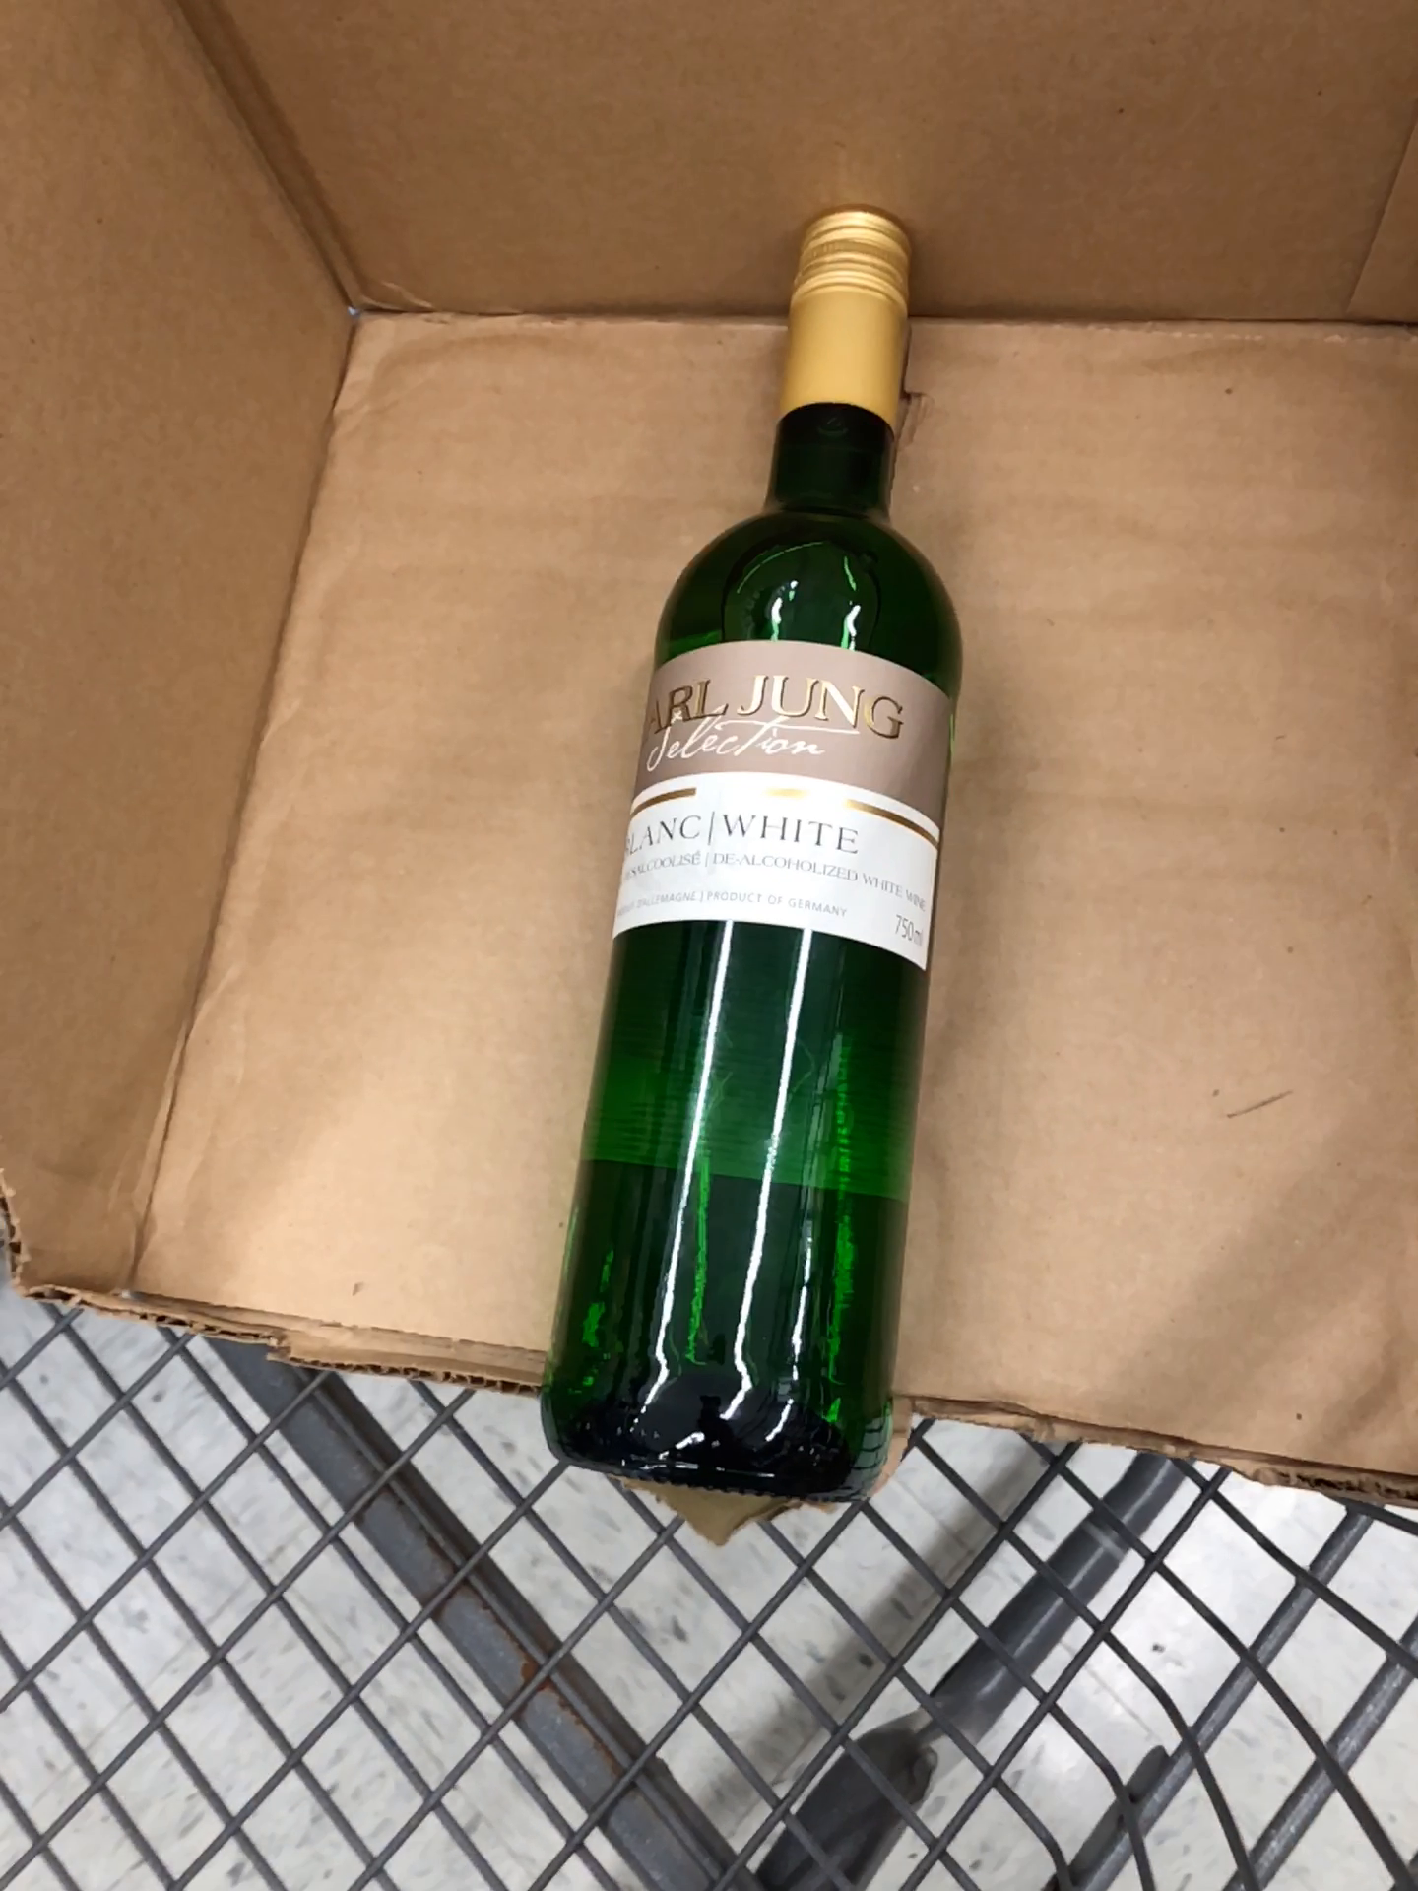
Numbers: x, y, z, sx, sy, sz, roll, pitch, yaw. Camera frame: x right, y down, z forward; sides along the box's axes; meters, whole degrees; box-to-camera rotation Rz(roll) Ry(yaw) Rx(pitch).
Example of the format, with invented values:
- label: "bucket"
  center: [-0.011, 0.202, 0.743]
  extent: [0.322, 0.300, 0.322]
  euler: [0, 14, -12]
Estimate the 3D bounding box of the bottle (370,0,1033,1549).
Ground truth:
- label: "bottle"
  center: [0.014, -0.051, 0.350]
  extent: [0.080, 0.100, 0.331]
  euler: [2, 75, 20]
